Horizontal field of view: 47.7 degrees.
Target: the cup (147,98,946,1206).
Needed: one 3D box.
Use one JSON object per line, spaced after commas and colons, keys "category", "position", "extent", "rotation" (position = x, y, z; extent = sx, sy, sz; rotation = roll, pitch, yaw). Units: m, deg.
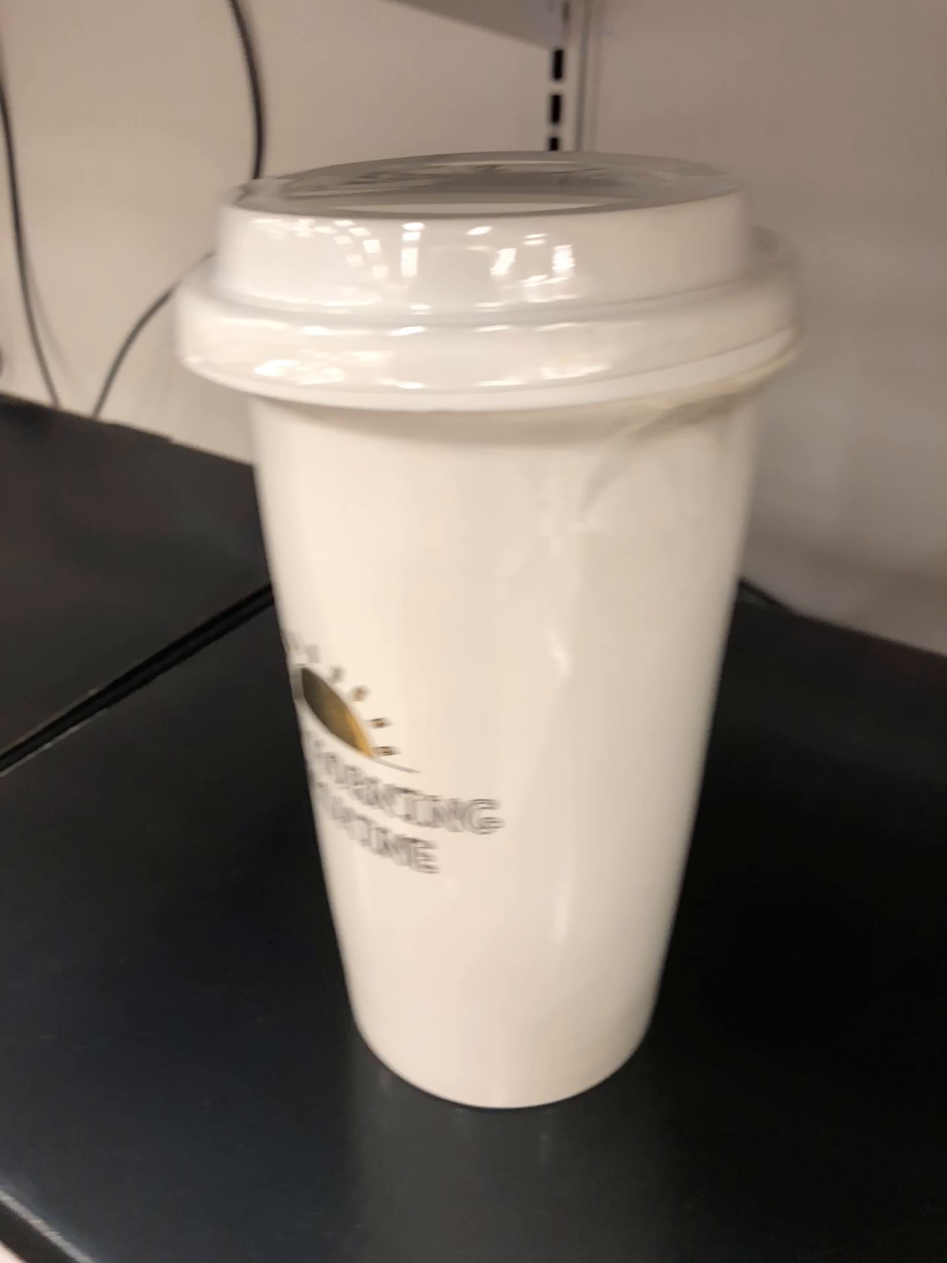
{"category": "cup", "position": [0.008, -0.003, 0.187], "extent": [0.100, 0.149, 0.100], "rotation": [0, 32, 0]}
